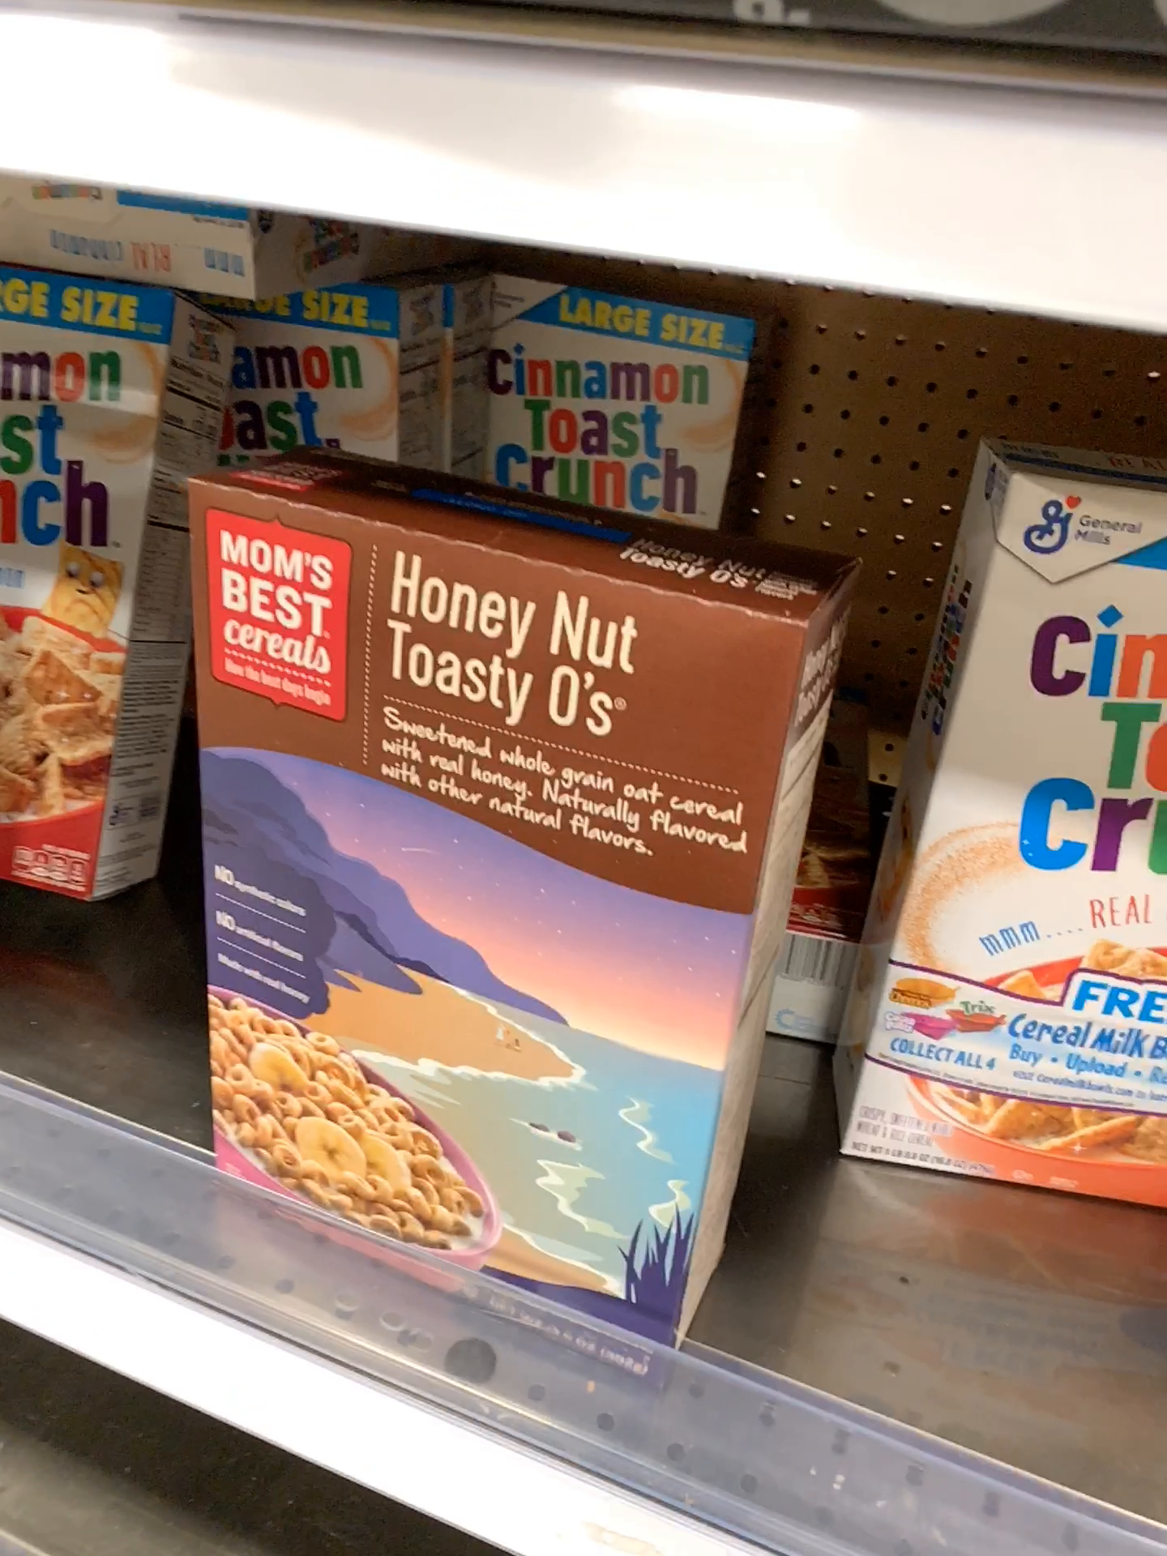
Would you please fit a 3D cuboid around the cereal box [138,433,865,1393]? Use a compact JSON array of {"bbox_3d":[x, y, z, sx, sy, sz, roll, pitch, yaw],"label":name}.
[{"bbox_3d":[-0.038,0.046,0.409,0.200,0.279,0.070,16,28,18],"label":"cereal box"}]
